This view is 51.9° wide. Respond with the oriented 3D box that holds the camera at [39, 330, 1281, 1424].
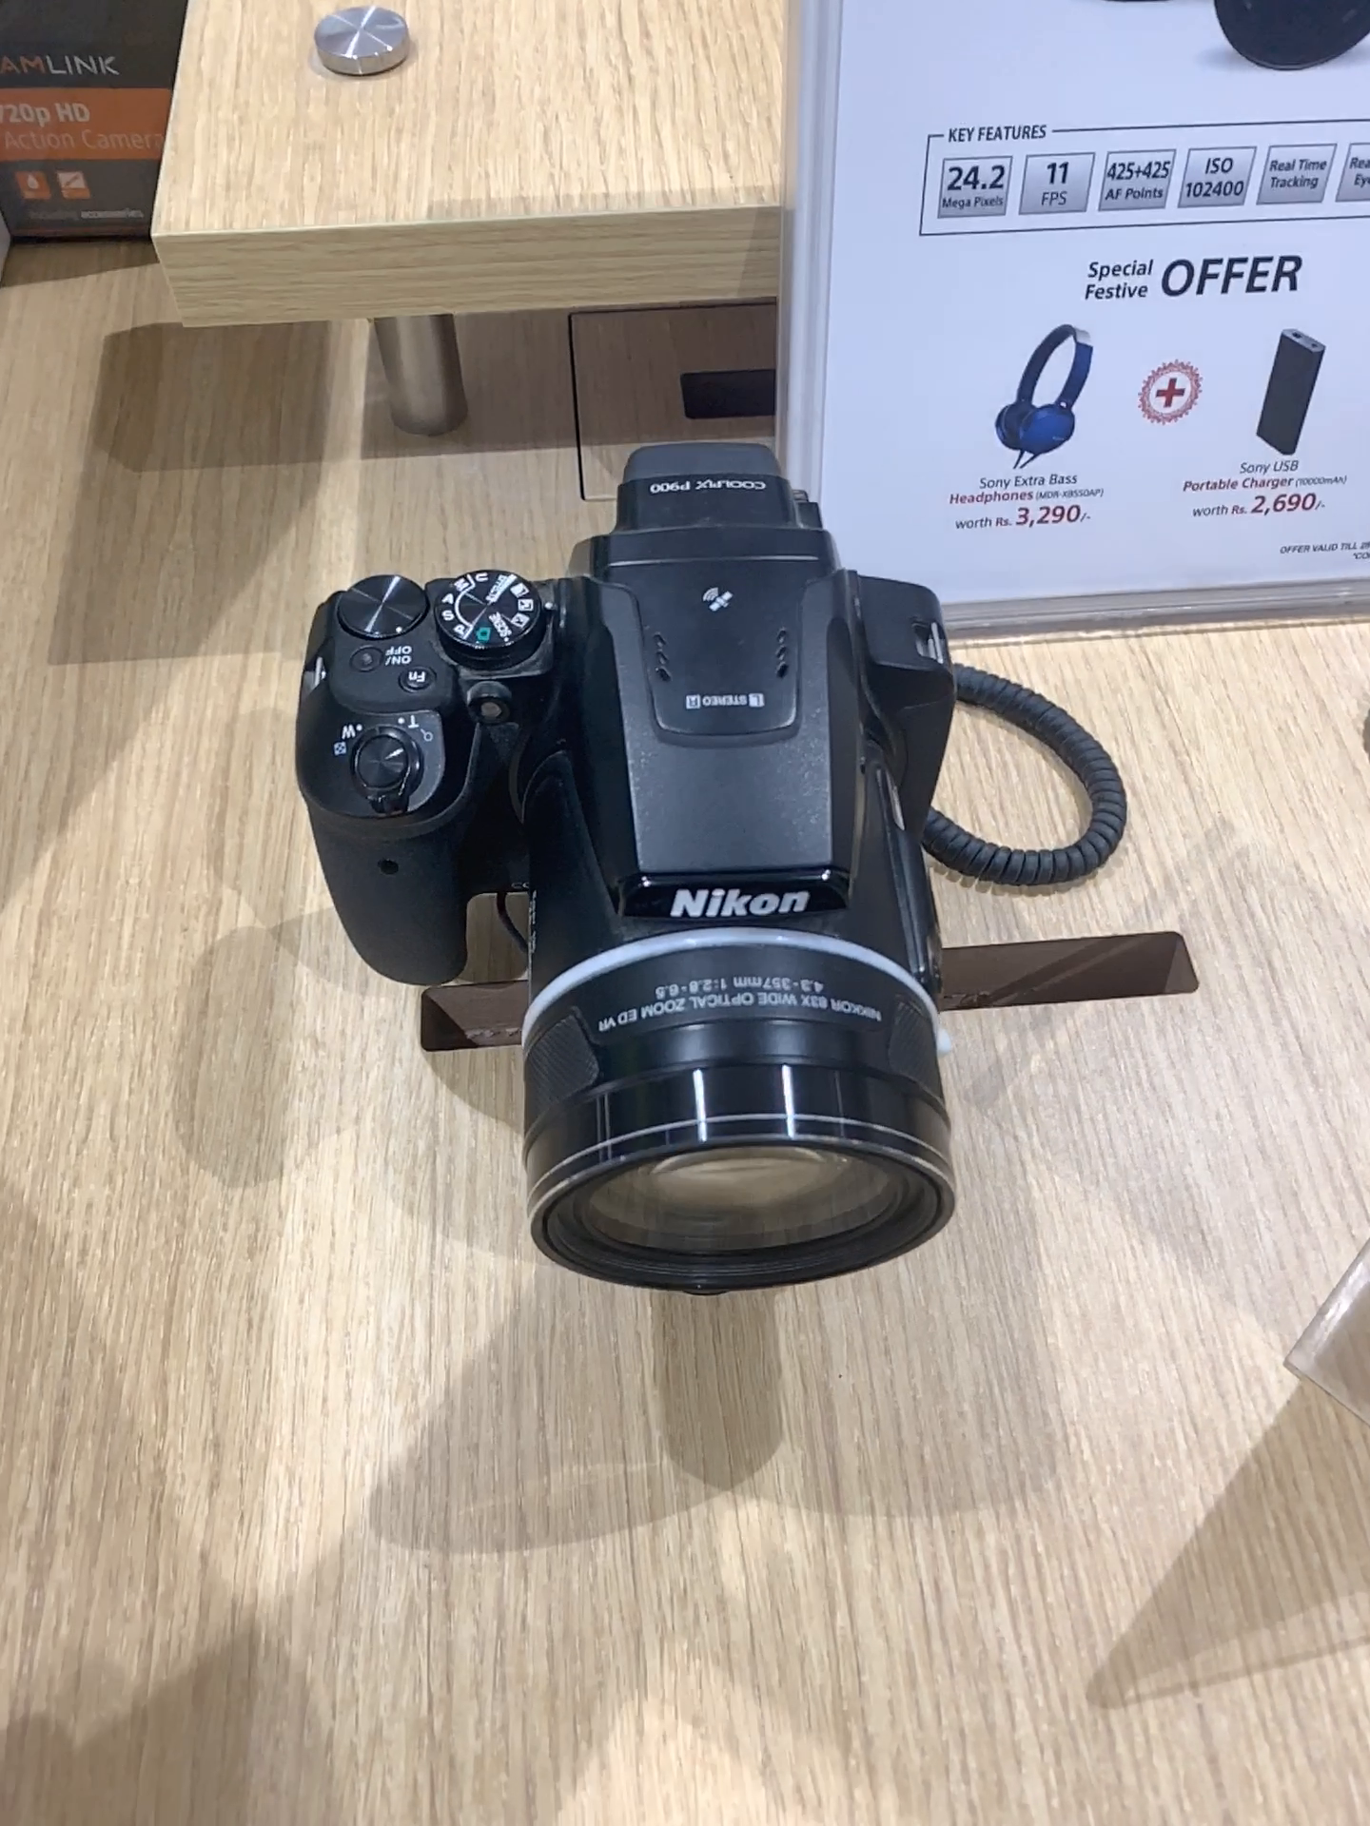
[{"bbox_3d":[-0.008,-0.008,0.236,0.140,0.090,0.150,-4,58,-3],"label":"camera"}]
